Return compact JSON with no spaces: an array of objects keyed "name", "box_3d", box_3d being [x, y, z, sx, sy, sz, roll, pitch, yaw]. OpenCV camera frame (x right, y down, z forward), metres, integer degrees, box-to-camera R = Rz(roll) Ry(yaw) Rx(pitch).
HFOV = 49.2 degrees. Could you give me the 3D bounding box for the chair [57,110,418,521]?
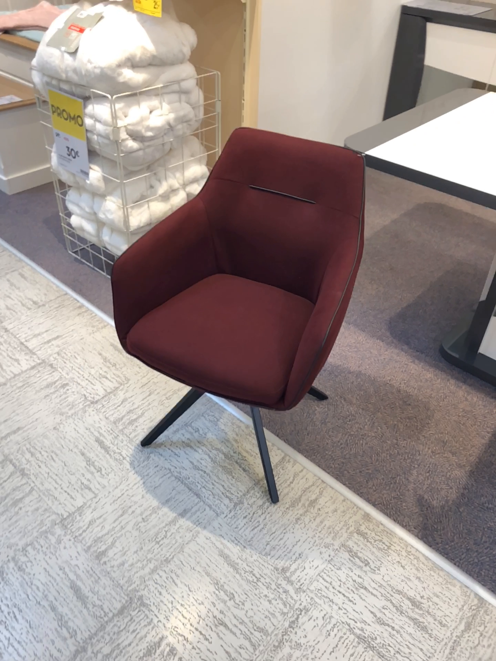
[{"name":"chair","box_3d":[0.003,-0.064,1.399,0.580,0.735,0.574,19,42,20]}]
